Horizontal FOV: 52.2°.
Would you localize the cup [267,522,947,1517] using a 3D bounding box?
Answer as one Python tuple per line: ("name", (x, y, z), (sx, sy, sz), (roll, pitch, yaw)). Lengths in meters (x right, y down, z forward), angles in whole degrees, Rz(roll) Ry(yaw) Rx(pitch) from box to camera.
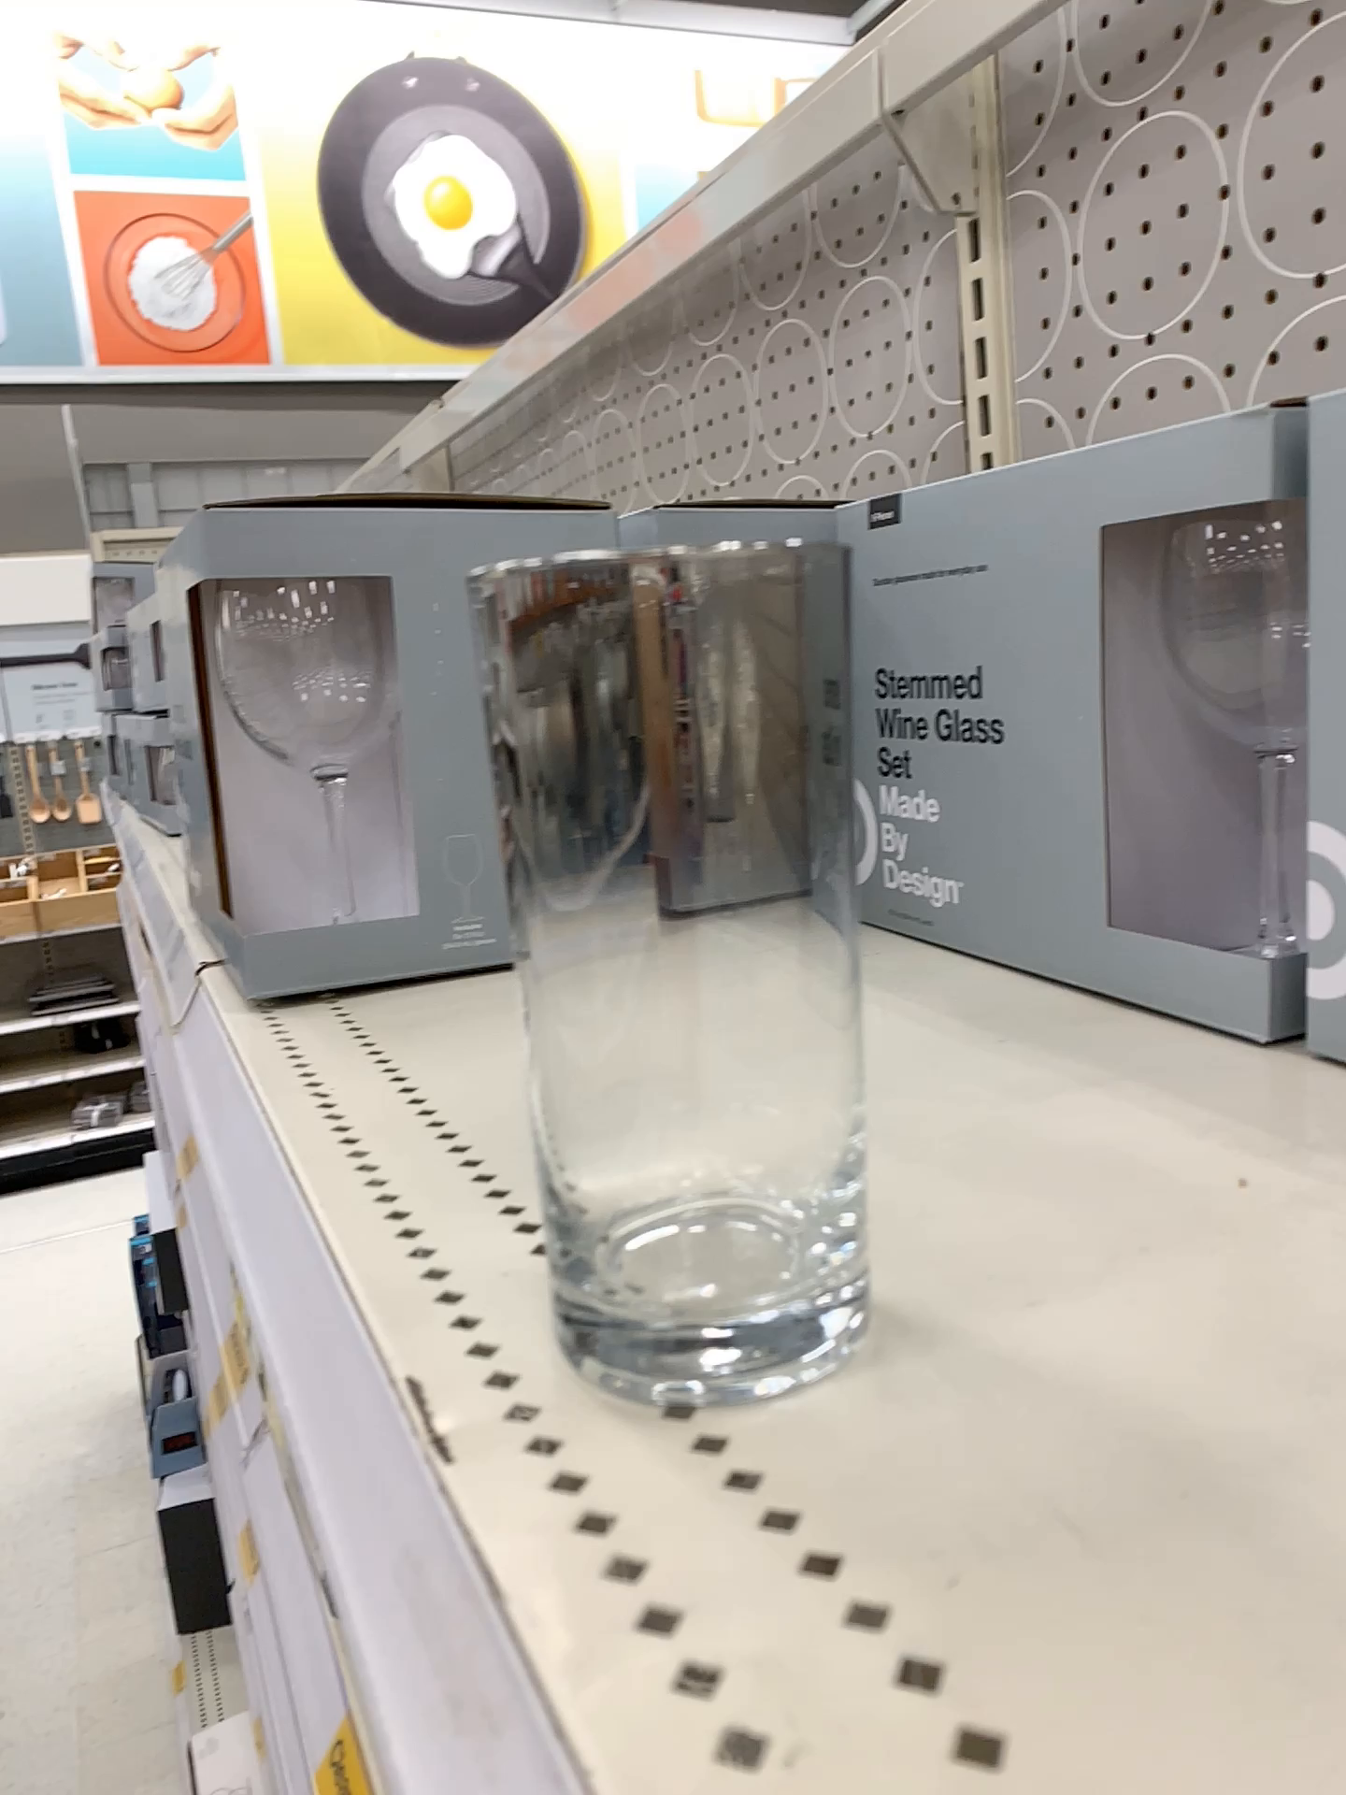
("cup", (-0.009, 0.012, 0.256), (0.080, 0.150, 0.080), (-5, 9, 1))
